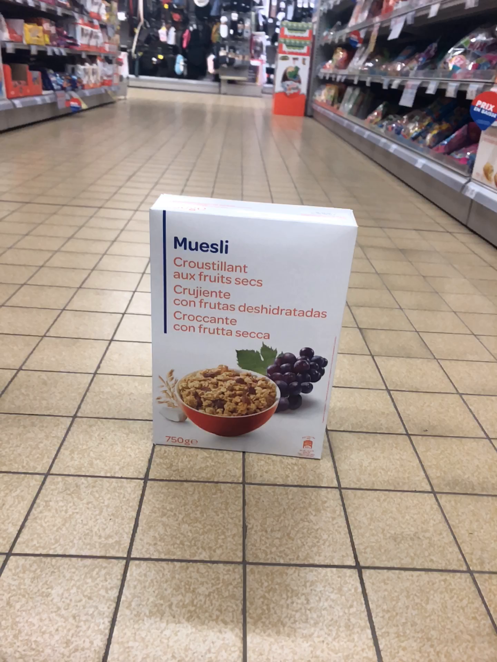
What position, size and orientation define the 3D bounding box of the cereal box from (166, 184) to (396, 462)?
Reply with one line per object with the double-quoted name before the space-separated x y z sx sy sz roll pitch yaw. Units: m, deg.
"cereal box" 0.021 -0.001 0.563 0.200 0.268 0.060 6 26 2
